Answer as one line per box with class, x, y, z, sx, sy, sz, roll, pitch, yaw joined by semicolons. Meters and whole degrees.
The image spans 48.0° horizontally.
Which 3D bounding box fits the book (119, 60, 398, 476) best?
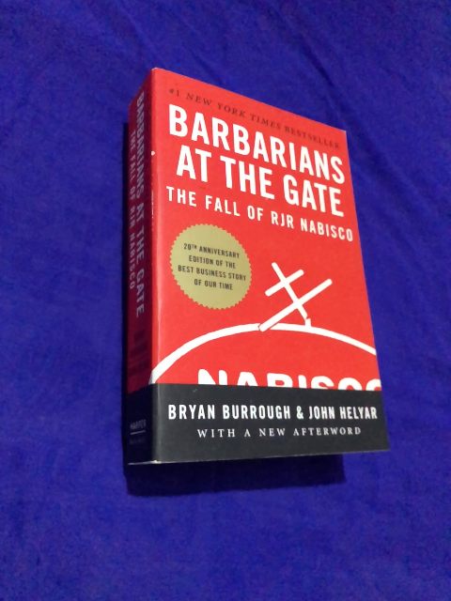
book;0.016;-0.014;0.294;0.141;0.050;0.210;8;69;-30
